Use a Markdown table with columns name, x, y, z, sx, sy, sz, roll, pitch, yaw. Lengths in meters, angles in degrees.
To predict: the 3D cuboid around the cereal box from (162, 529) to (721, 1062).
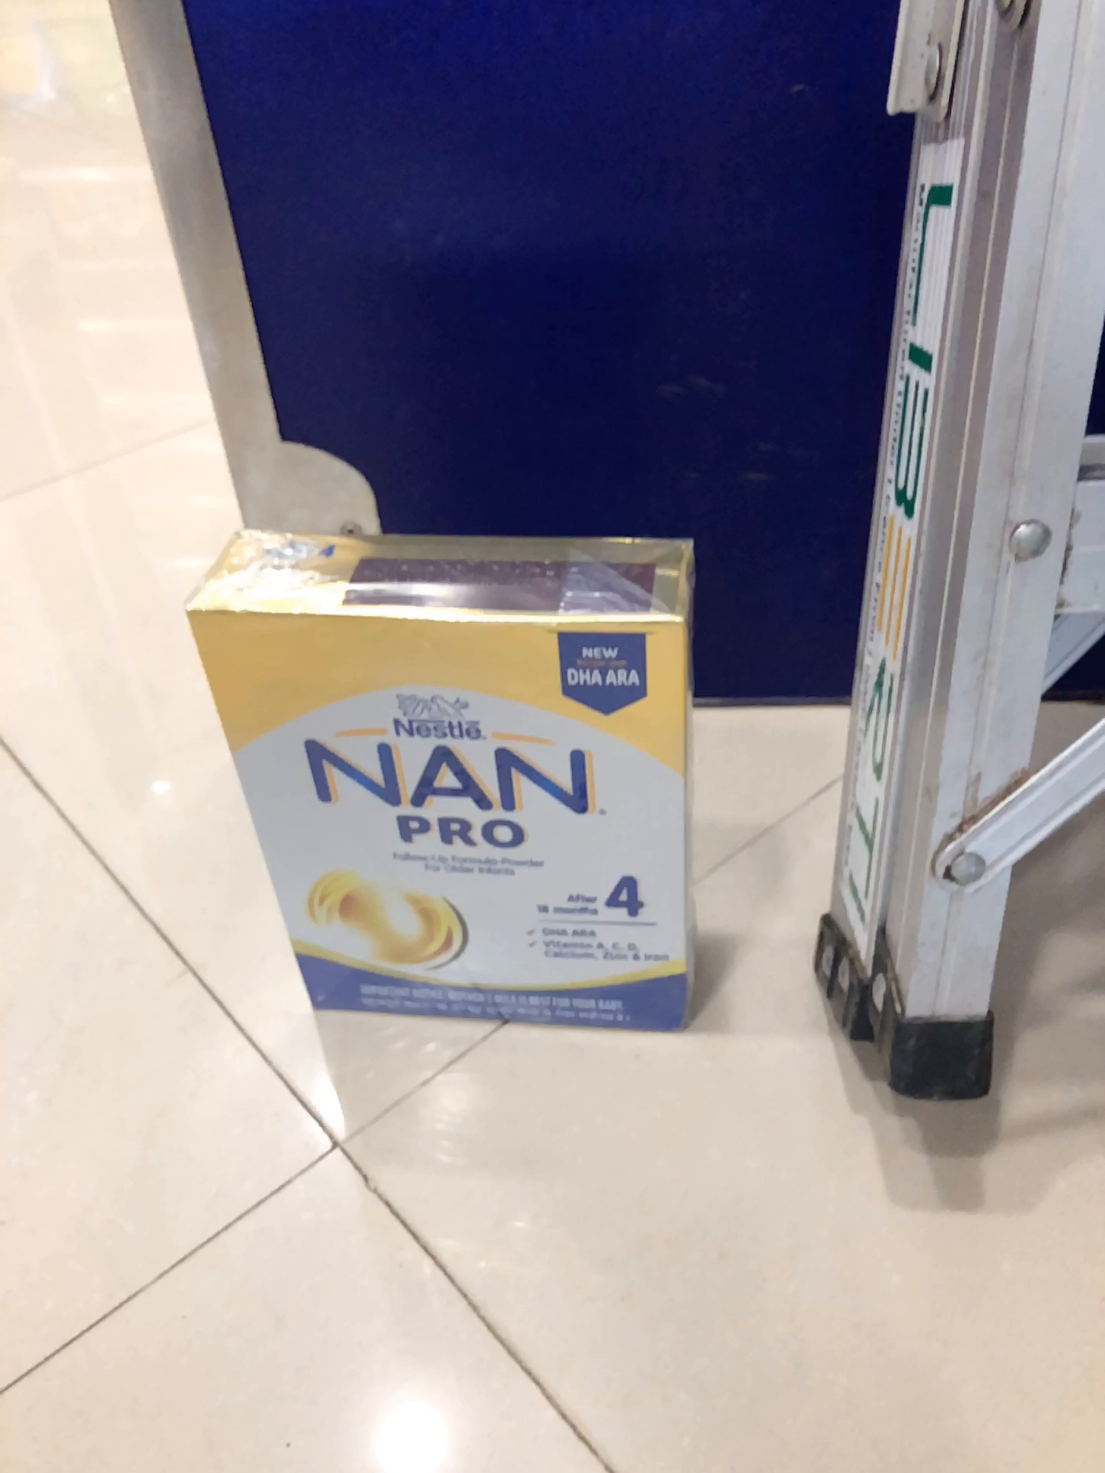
| name | x | y | z | sx | sy | sz | roll | pitch | yaw |
| --- | --- | --- | --- | --- | --- | --- | --- | --- | --- |
| cereal box | -0.027 | 0.029 | 0.453 | 0.170 | 0.209 | 0.050 | 2 | 40 | 8 |
